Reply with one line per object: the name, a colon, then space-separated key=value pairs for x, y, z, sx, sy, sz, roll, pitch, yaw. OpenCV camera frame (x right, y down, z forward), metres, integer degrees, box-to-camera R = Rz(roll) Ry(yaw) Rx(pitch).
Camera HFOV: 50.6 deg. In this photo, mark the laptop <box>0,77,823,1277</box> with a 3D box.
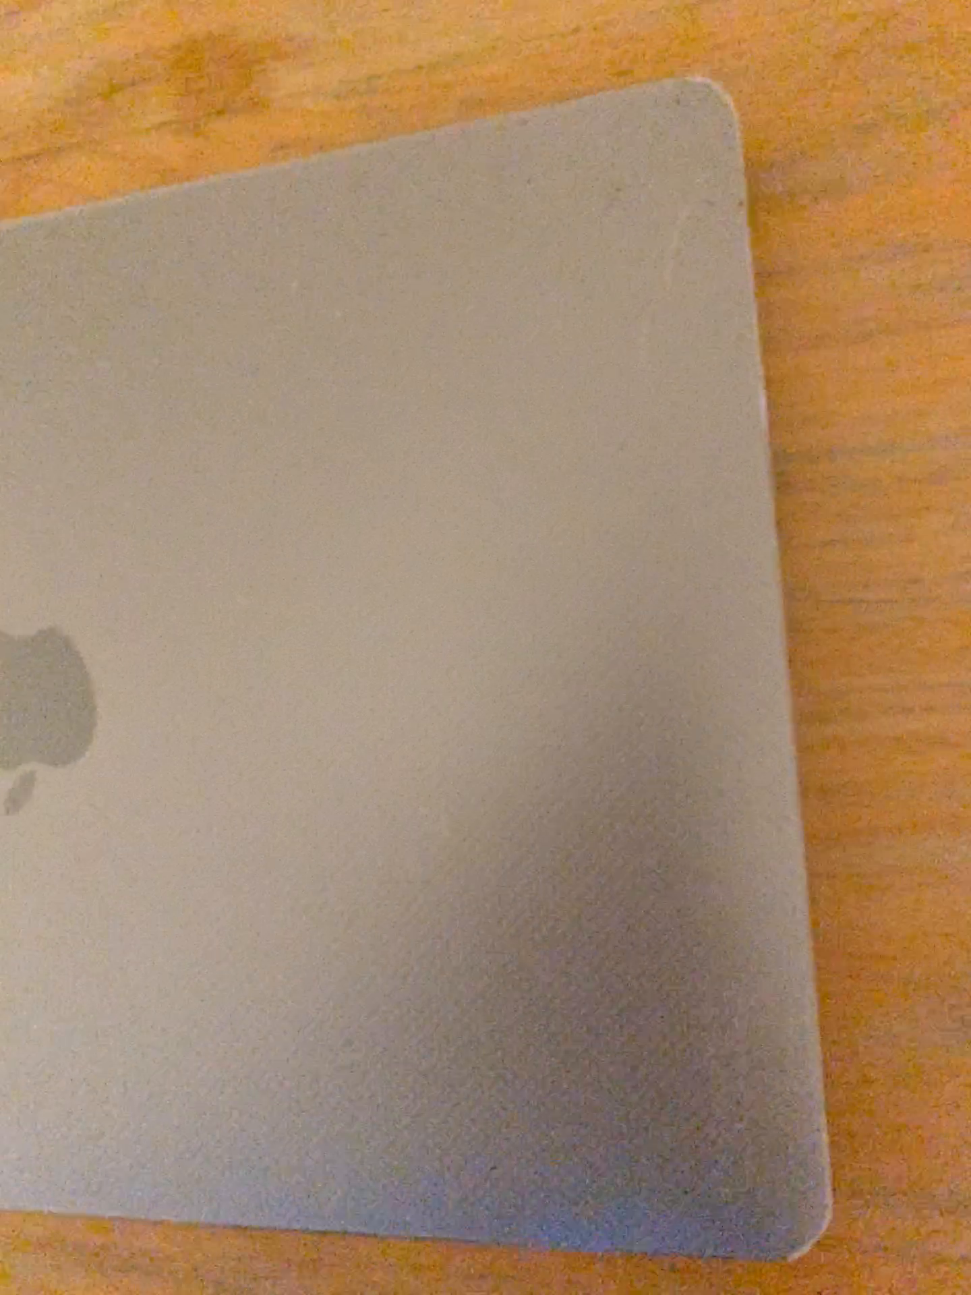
laptop: x=-0.090 y=0.011 z=0.223 sx=0.292 sy=0.005 sz=0.210 roll=-4 pitch=87 yaw=16
